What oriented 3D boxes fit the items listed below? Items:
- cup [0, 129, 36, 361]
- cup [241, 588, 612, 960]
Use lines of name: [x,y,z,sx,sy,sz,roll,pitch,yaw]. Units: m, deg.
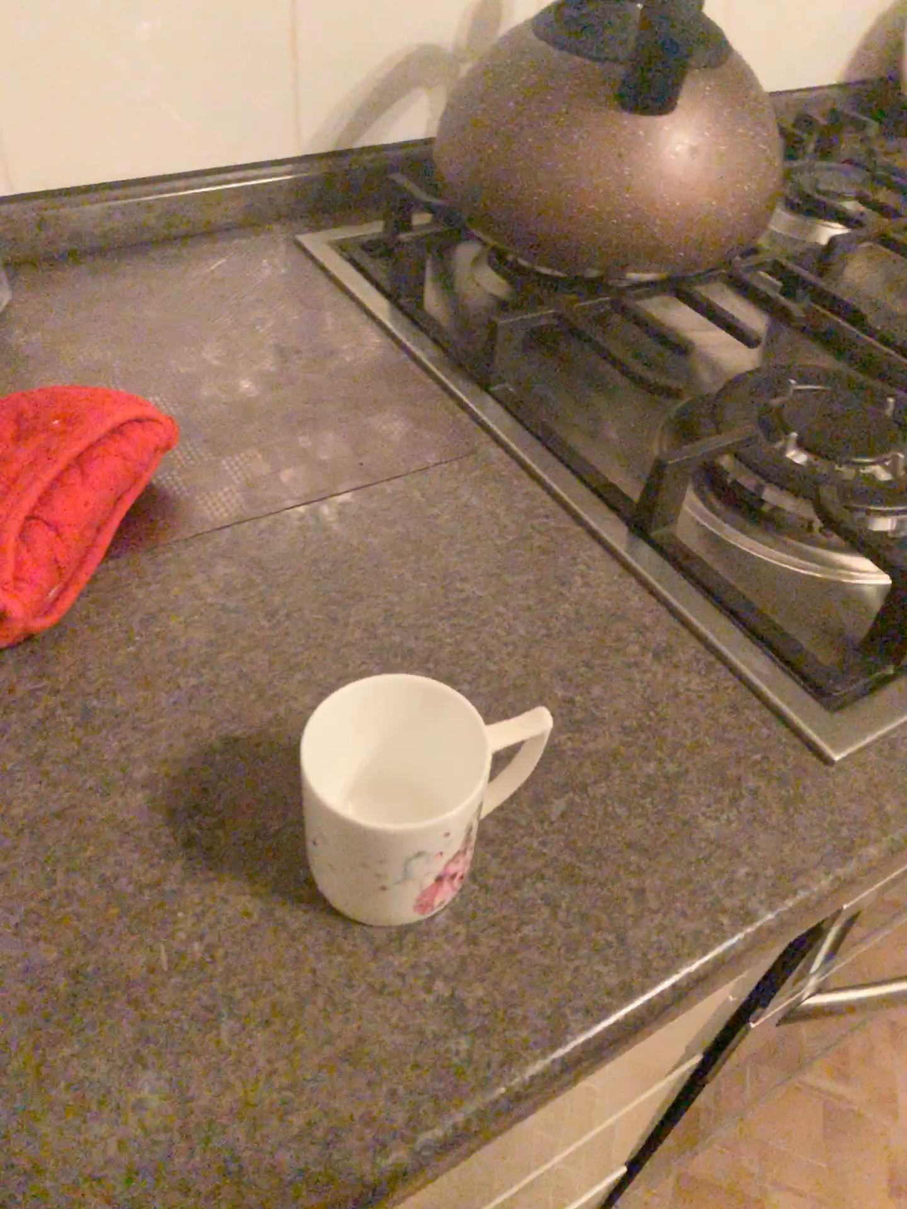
cup: [-0.296,-0.201,0.518,0.054,0.091,0.079,34,51,26]
cup: [-0.010,0.051,0.293,0.089,0.061,0.065,-19,49,-23]
